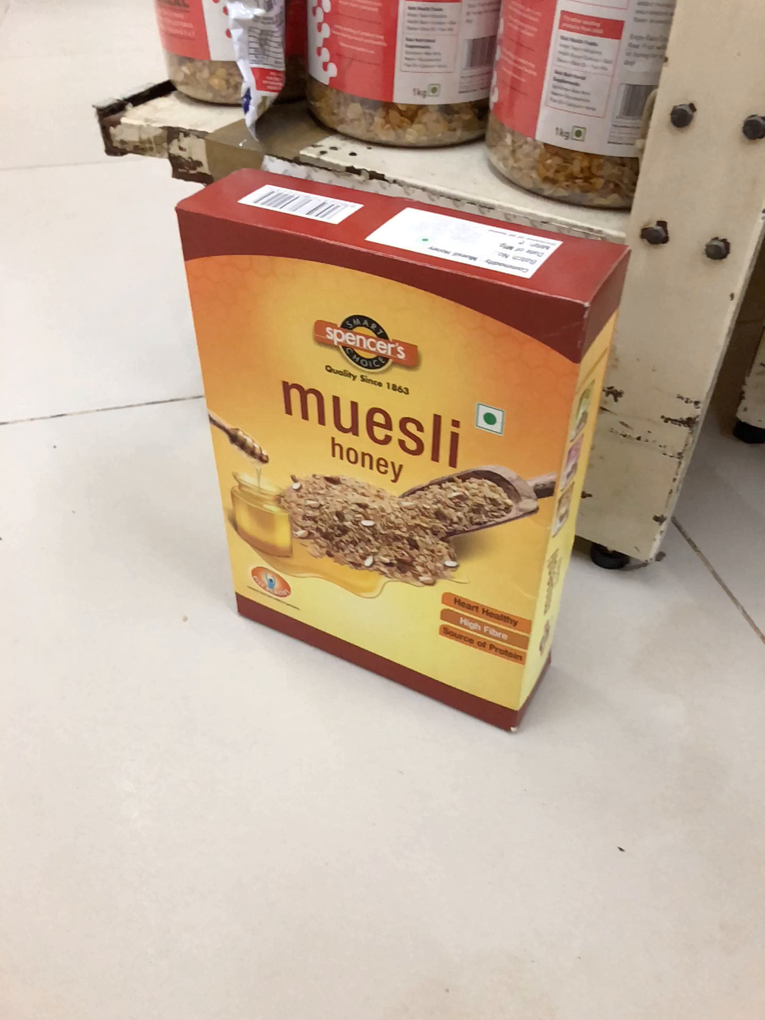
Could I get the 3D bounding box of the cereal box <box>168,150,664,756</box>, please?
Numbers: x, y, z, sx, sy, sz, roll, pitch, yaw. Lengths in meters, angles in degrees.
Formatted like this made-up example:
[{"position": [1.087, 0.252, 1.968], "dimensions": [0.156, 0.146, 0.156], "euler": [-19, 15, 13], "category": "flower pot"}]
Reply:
[{"position": [0.009, -0.019, 0.416], "dimensions": [0.190, 0.258, 0.060], "euler": [22, 45, 24], "category": "cereal box"}]
